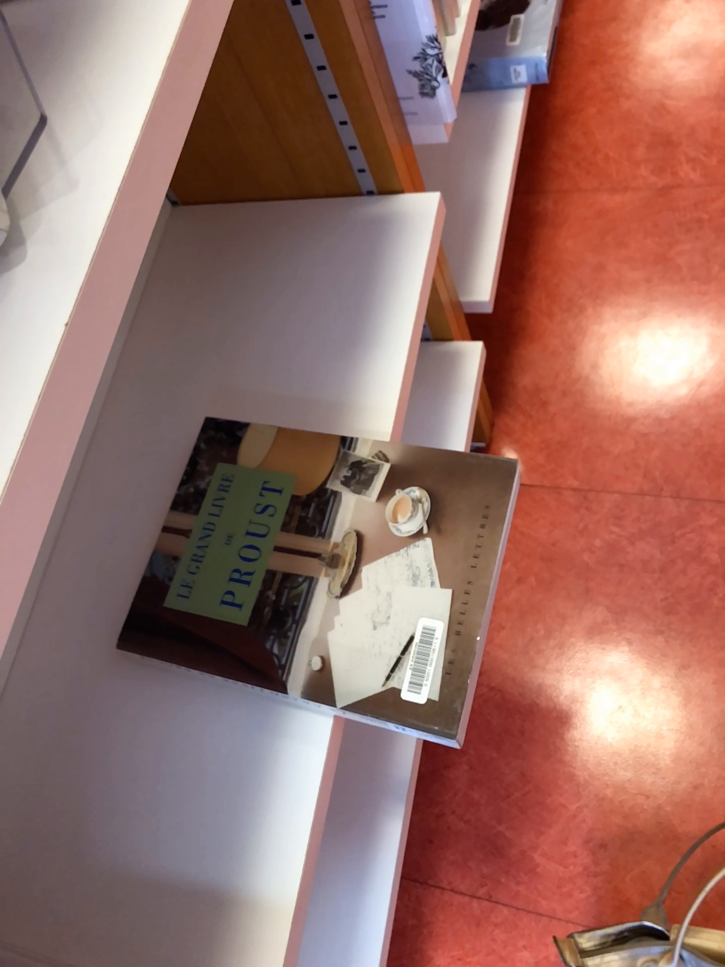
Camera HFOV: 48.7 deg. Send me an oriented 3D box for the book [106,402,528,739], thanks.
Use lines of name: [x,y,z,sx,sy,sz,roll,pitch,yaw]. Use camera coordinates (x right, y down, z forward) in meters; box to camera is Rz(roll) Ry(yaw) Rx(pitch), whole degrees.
book: [-0.030,0.046,0.538,0.245,0.030,0.180,10,70,20]
